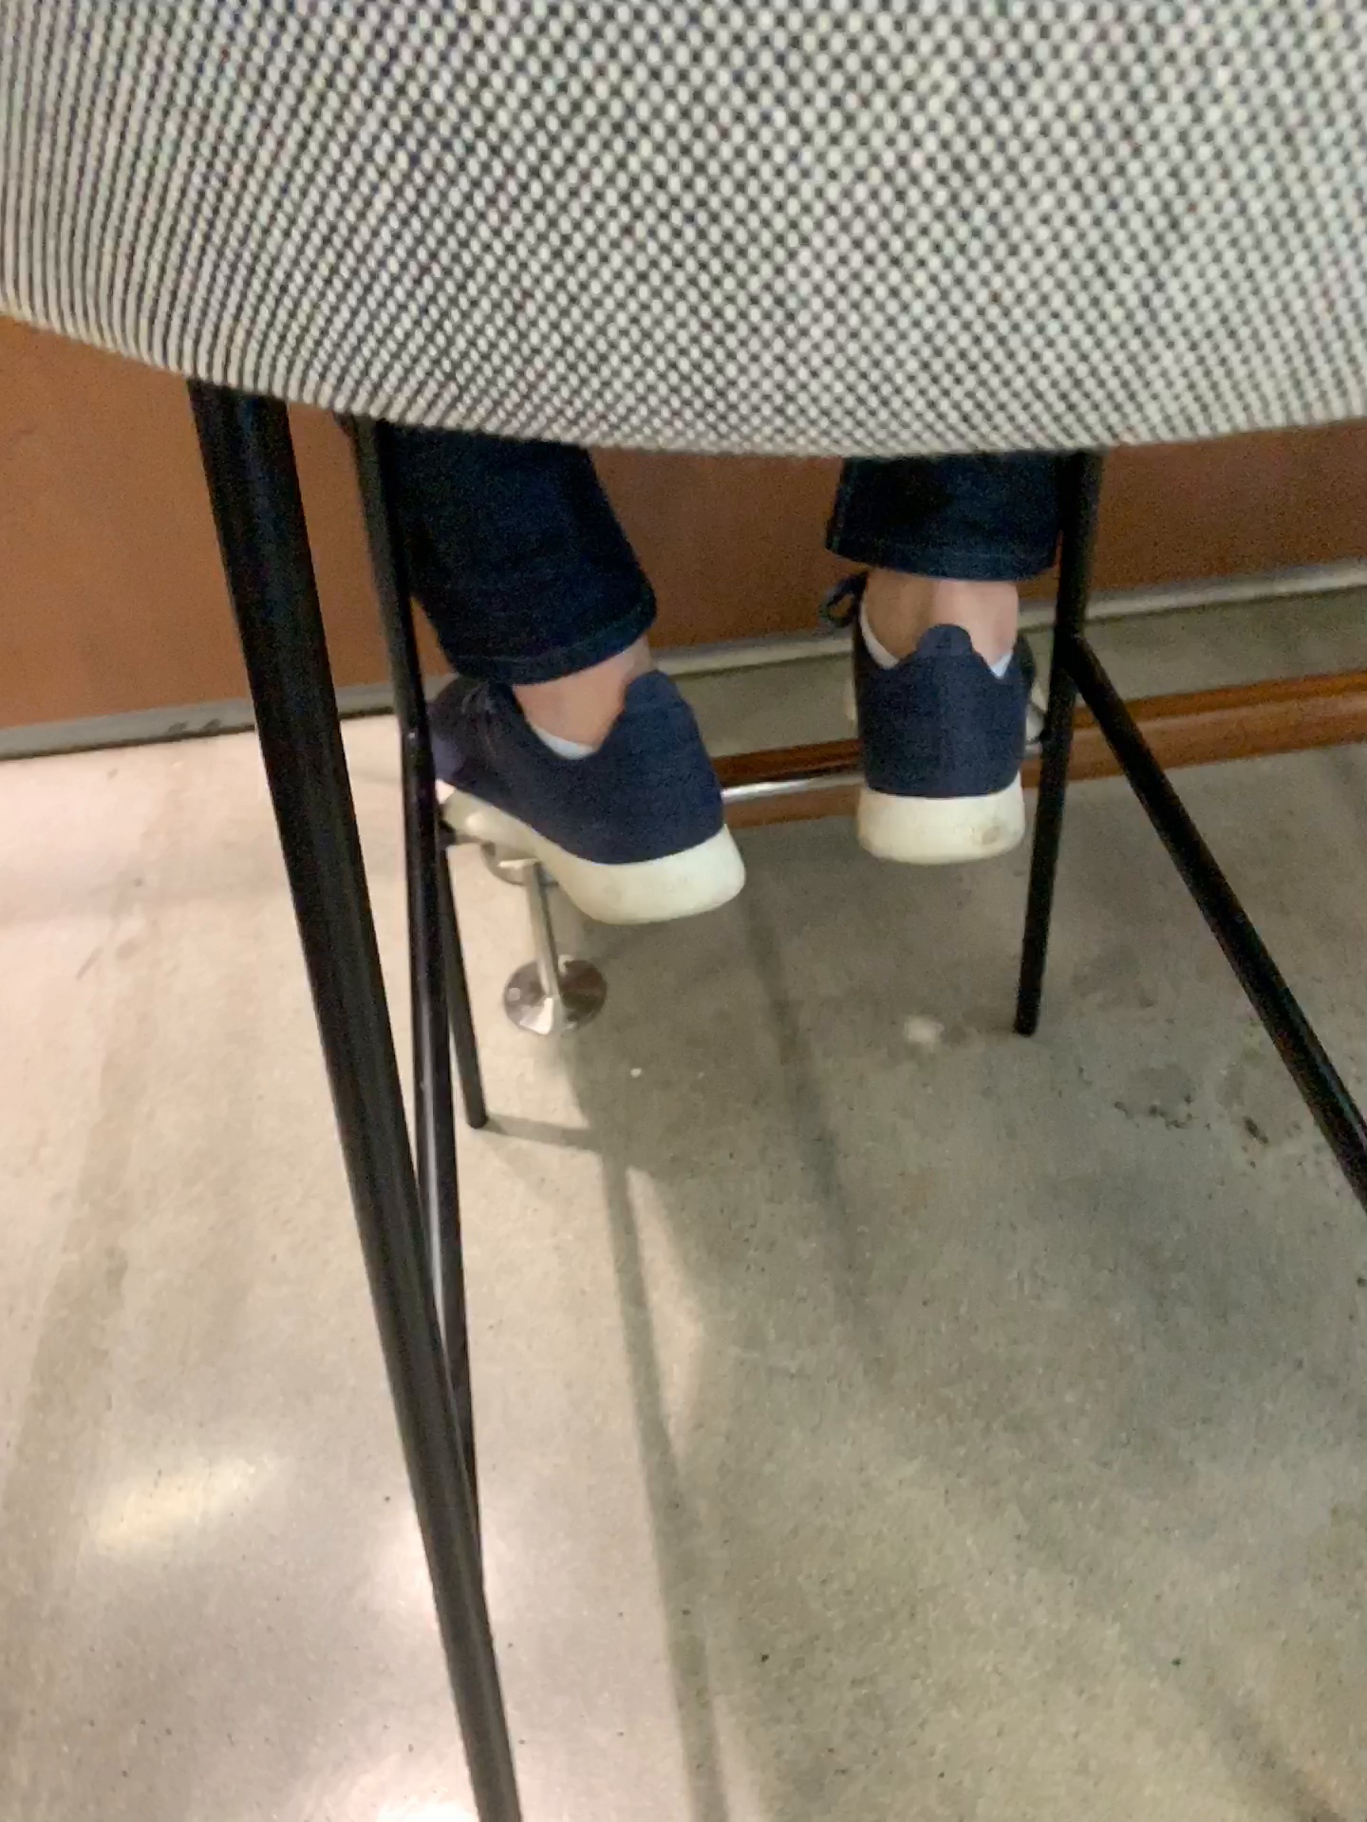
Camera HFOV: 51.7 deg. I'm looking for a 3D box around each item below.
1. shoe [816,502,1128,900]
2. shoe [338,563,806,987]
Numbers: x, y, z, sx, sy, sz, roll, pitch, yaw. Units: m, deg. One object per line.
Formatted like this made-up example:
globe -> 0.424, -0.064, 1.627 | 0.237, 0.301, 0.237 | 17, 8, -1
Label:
shoe -> 0.146, -0.130, 0.774 | 0.129, 0.093, 0.301 | 5, 33, 4
shoe -> -0.071, -0.089, 0.745 | 0.124, 0.093, 0.301 | -20, 34, -21
